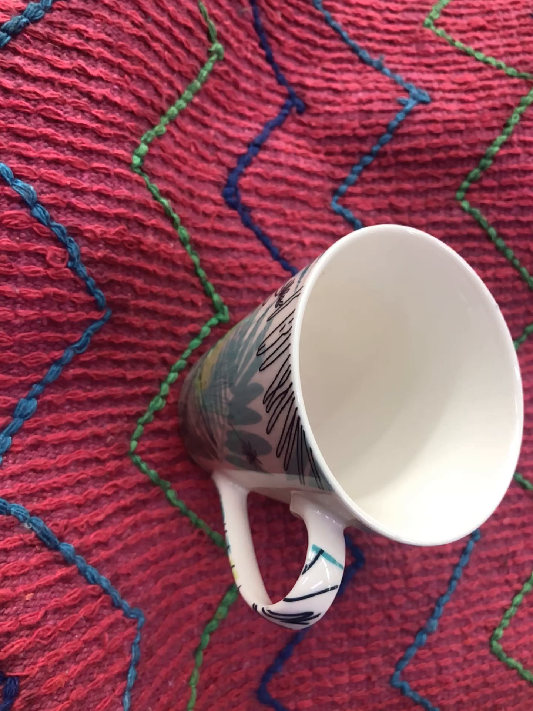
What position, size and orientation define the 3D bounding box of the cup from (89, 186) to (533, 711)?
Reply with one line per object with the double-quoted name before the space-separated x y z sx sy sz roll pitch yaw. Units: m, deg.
"cup" 0.024 0.031 0.180 0.090 0.080 0.110 36 73 -22
